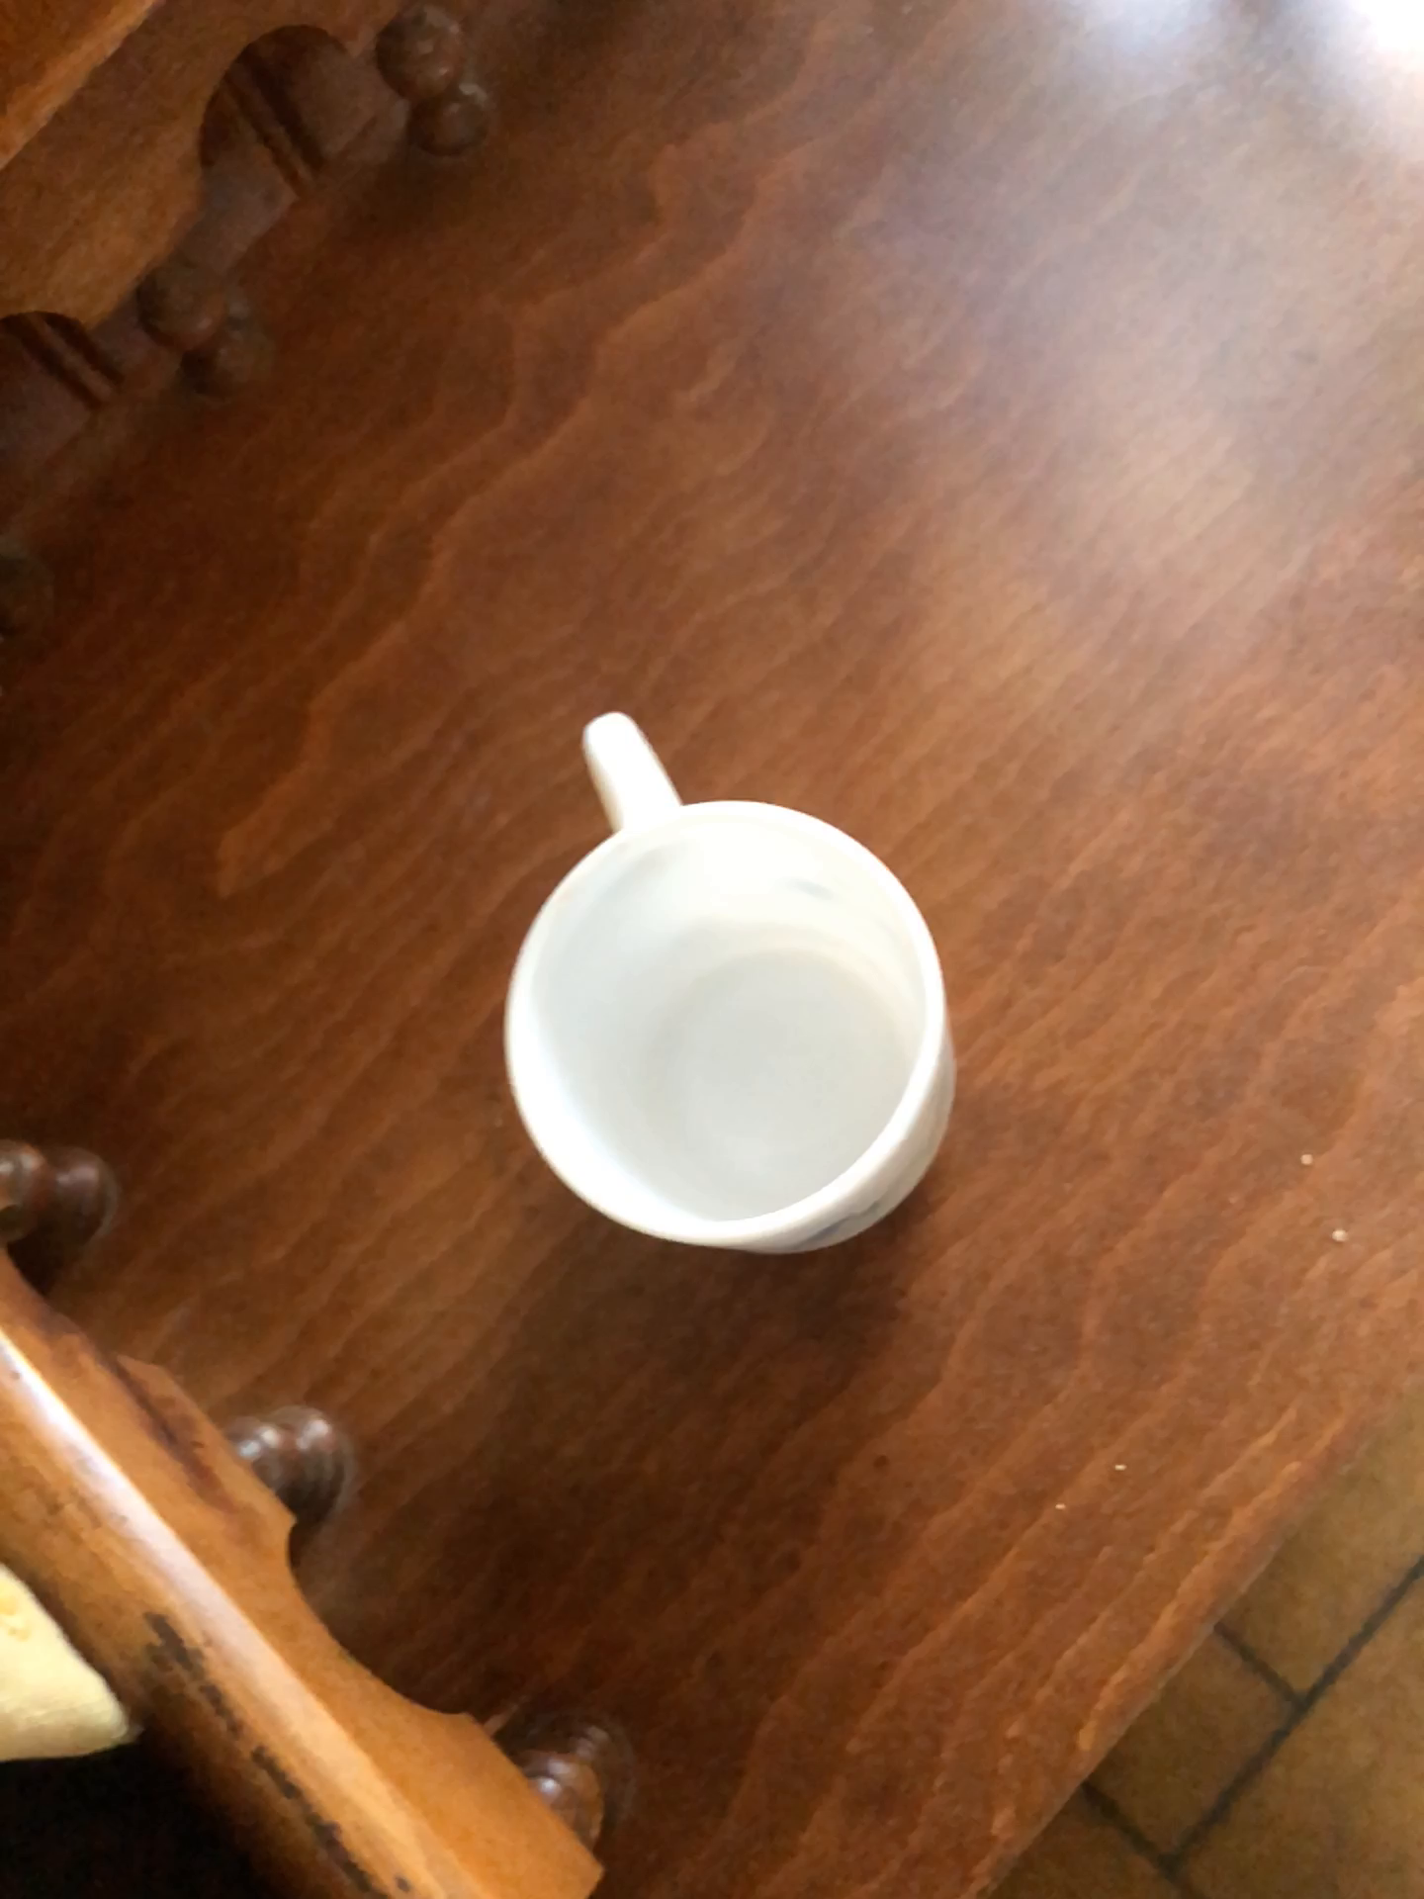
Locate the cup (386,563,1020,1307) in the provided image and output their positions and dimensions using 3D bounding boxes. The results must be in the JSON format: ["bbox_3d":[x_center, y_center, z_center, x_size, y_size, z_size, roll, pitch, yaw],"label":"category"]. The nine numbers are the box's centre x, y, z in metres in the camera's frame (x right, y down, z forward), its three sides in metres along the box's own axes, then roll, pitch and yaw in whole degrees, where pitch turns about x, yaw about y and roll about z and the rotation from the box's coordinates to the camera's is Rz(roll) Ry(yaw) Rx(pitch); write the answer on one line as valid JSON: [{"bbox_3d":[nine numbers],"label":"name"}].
[{"bbox_3d":[0.002,0.003,0.229,0.060,0.060,0.080,-19,75,6],"label":"cup"}]
